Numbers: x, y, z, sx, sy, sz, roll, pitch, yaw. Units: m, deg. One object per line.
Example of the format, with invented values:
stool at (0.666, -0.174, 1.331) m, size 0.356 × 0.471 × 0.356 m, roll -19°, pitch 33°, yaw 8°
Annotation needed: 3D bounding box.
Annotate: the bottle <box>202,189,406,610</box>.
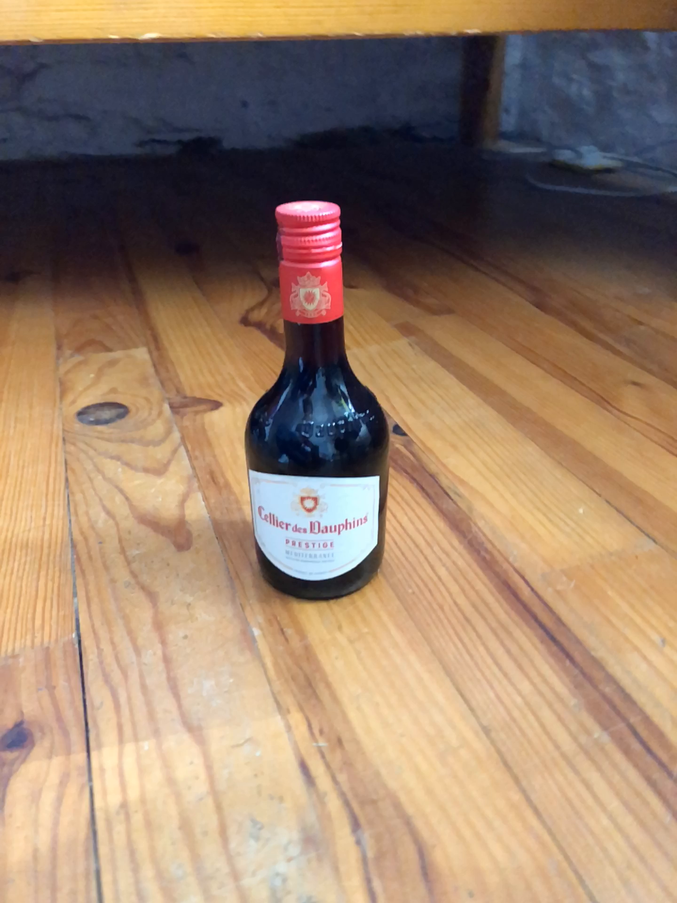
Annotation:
bottle at (-0.010, -0.019, 0.324) m, size 0.070 × 0.169 × 0.060 m, roll 2°, pitch 28°, yaw 4°
